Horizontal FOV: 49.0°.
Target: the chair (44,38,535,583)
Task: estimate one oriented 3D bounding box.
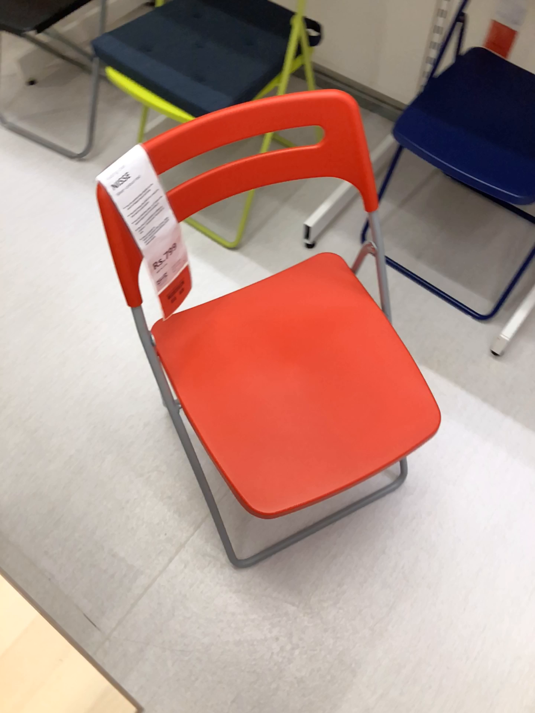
[{"bbox_3d":[0.036,-0.003,0.925,0.440,0.677,0.421,-24,62,-12],"label":"chair"}]
